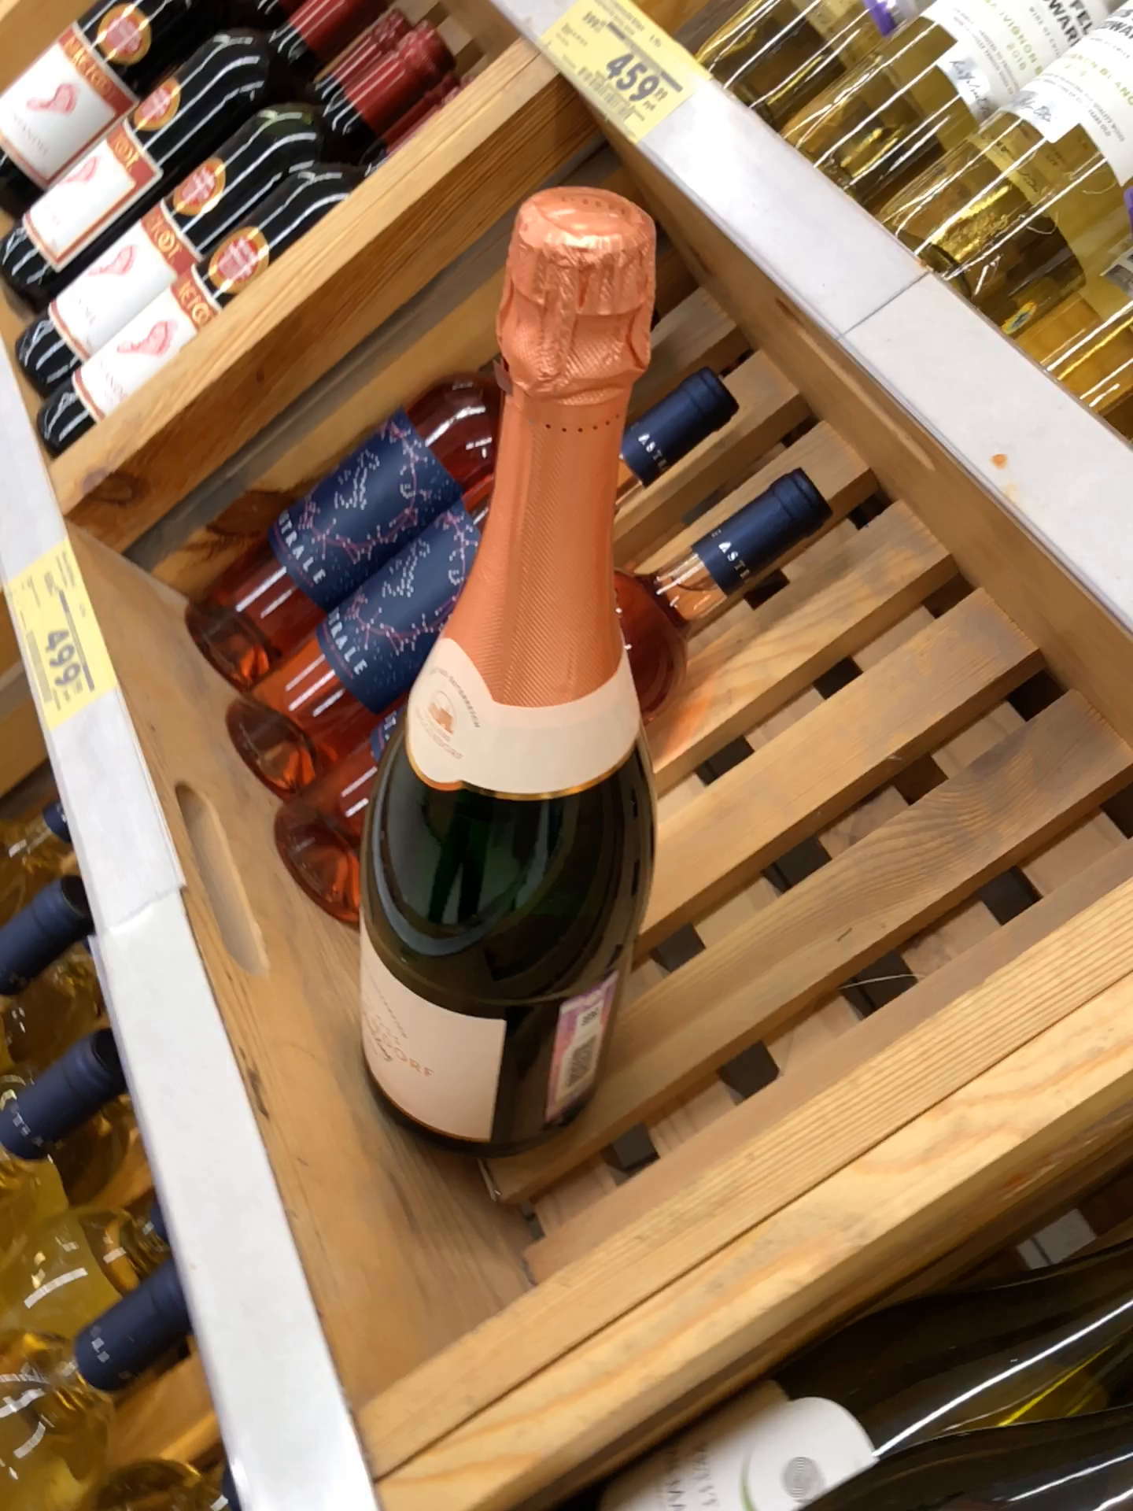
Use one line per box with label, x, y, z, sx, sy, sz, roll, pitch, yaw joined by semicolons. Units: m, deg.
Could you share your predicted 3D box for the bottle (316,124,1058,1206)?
bottle;-0.001;0.002;0.415;0.110;0.358;0.120;7;47;-8
